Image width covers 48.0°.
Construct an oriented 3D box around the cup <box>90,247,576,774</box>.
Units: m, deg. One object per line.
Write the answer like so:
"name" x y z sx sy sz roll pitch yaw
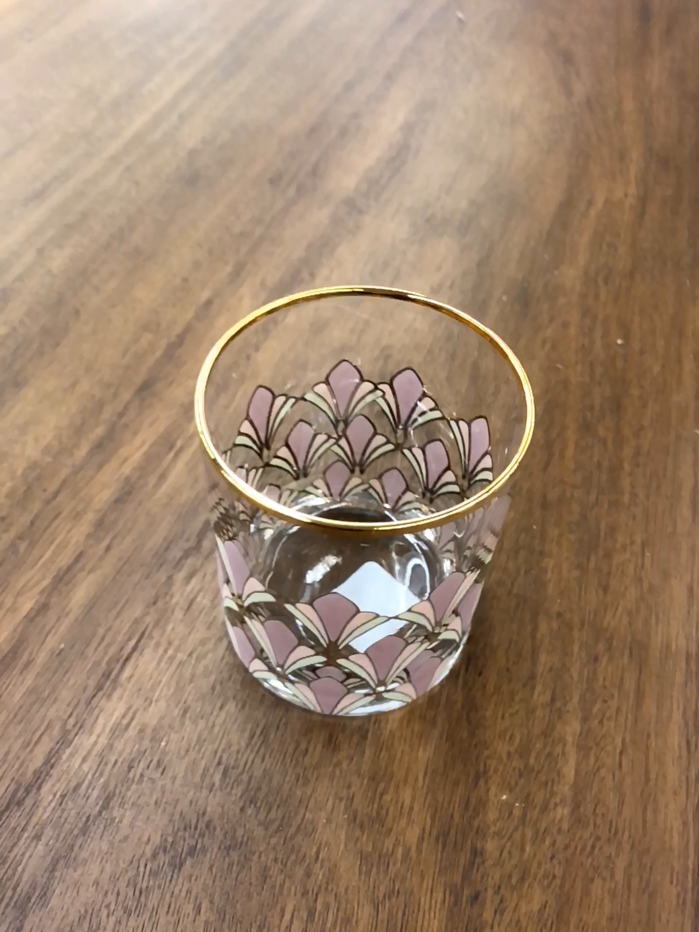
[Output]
"cup" -0.001 0.012 0.209 0.083 0.090 0.080 1 49 -2
